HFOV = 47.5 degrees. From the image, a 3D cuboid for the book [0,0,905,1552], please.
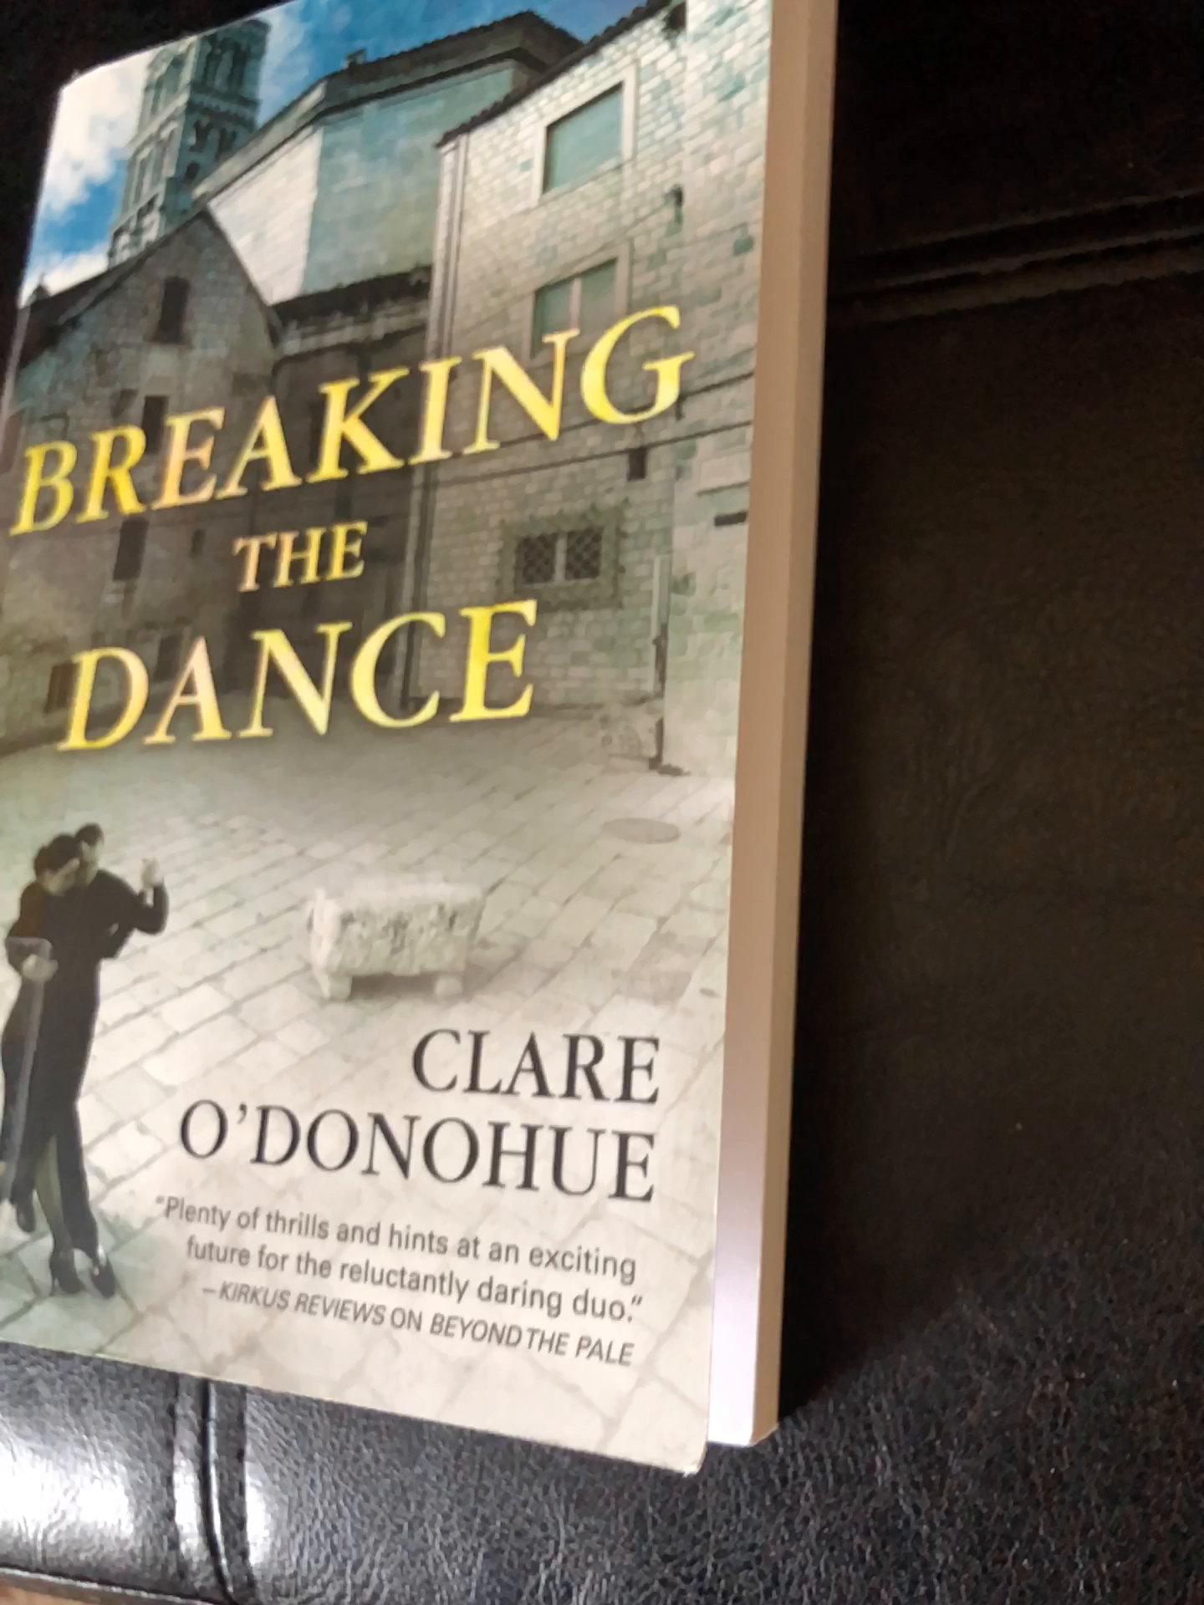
[{"bbox_3d":[-0.033,-0.027,0.192,0.140,0.040,0.210,0,77,20],"label":"book"}]
